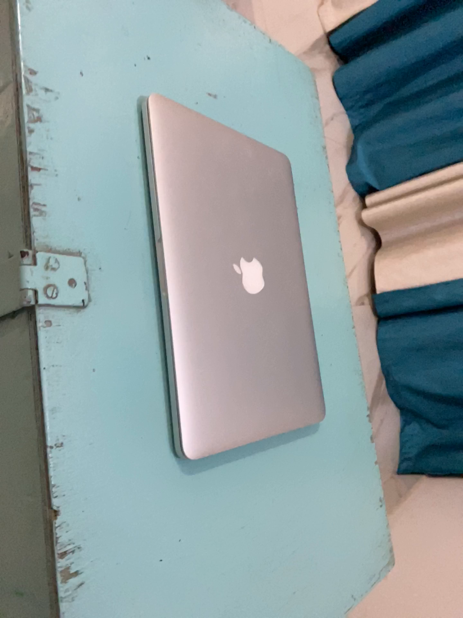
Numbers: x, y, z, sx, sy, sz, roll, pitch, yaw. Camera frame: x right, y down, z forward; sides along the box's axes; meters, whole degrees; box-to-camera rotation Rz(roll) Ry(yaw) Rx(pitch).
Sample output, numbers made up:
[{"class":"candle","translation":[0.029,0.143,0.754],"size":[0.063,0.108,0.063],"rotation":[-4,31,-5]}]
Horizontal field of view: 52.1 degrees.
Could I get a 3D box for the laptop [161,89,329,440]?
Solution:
[{"class":"laptop","translation":[0.025,-0.037,0.469],"size":[0.210,0.007,0.291],"rotation":[2,80,-52]}]
